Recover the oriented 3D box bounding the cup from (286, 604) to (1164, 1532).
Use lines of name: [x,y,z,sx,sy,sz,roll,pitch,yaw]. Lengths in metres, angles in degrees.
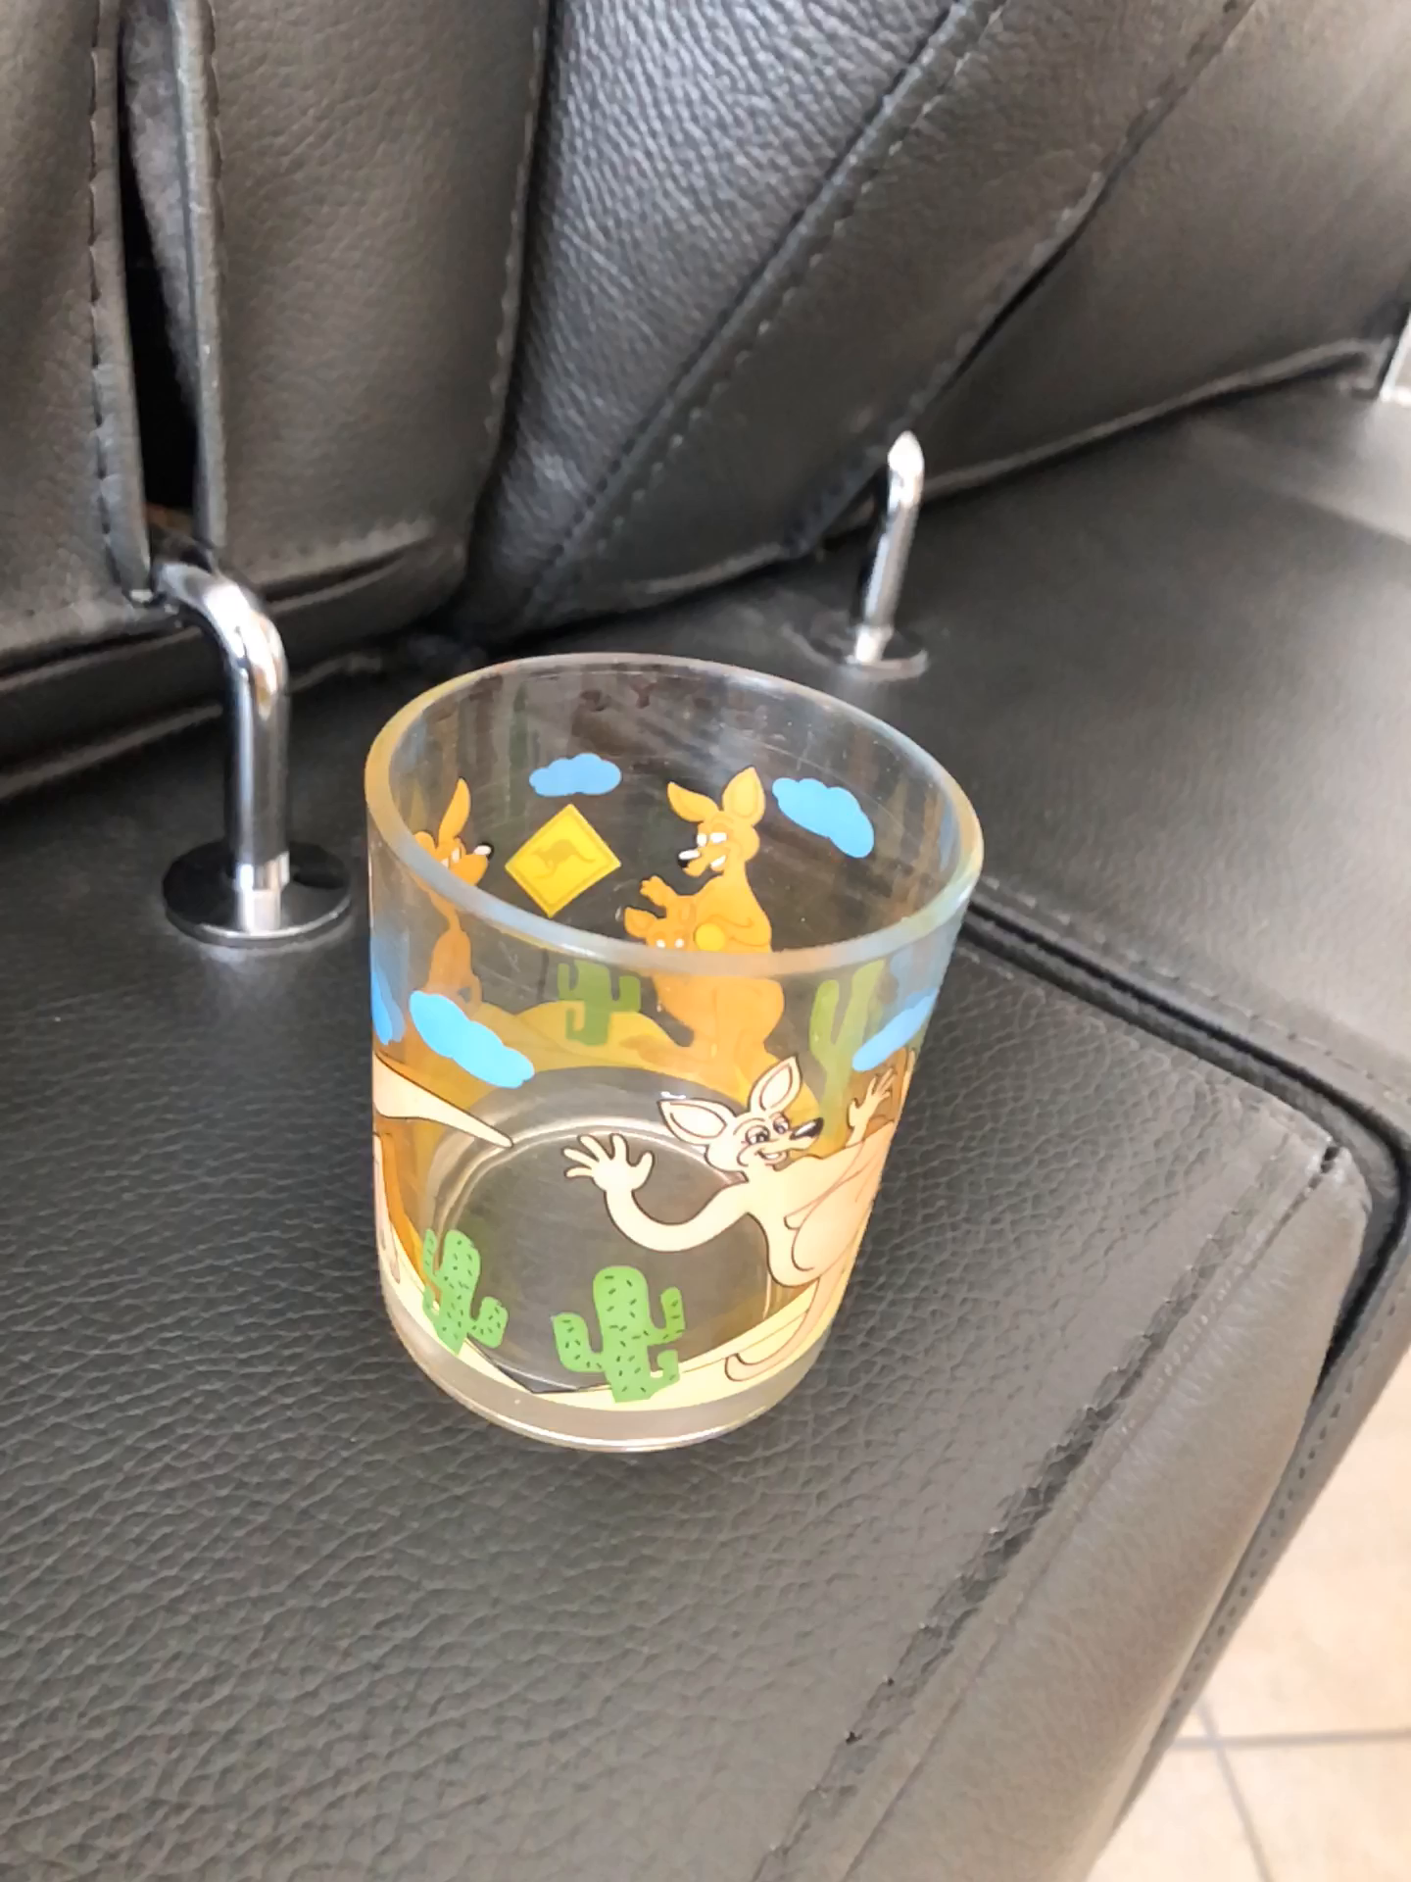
cup: [-0.004,0.010,0.209,0.080,0.079,0.070,-13,40,-31]
